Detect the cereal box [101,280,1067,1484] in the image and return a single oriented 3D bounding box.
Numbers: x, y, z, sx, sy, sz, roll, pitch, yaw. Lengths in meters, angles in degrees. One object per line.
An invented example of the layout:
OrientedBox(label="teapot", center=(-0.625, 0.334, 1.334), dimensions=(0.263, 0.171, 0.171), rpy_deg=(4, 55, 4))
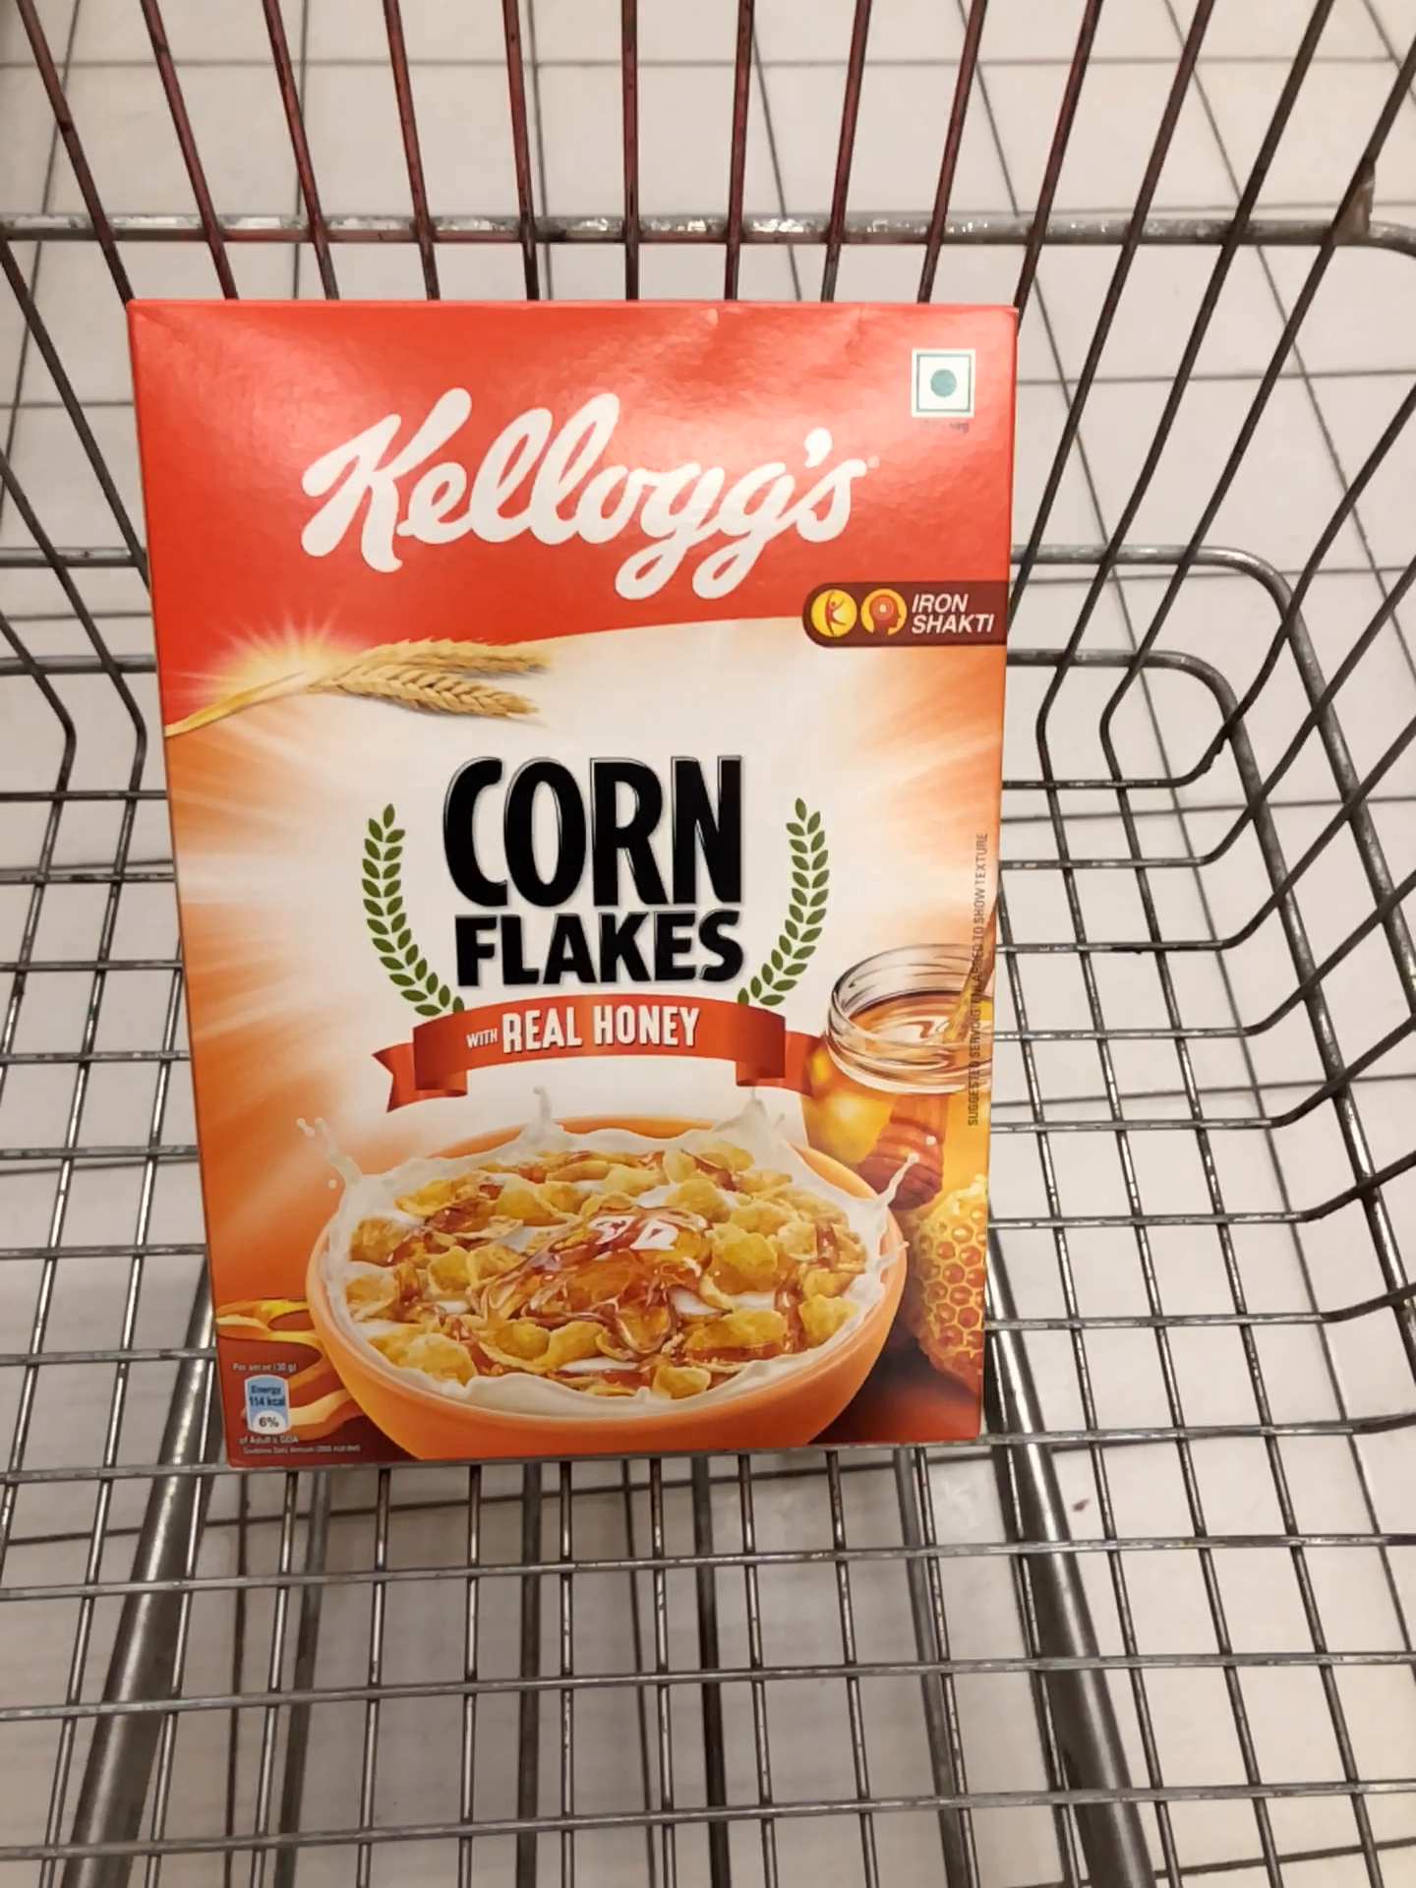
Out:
OrientedBox(label="cereal box", center=(-0.024, -0.013, 0.376), dimensions=(0.190, 0.080, 0.259), rpy_deg=(-1, 103, -3))
